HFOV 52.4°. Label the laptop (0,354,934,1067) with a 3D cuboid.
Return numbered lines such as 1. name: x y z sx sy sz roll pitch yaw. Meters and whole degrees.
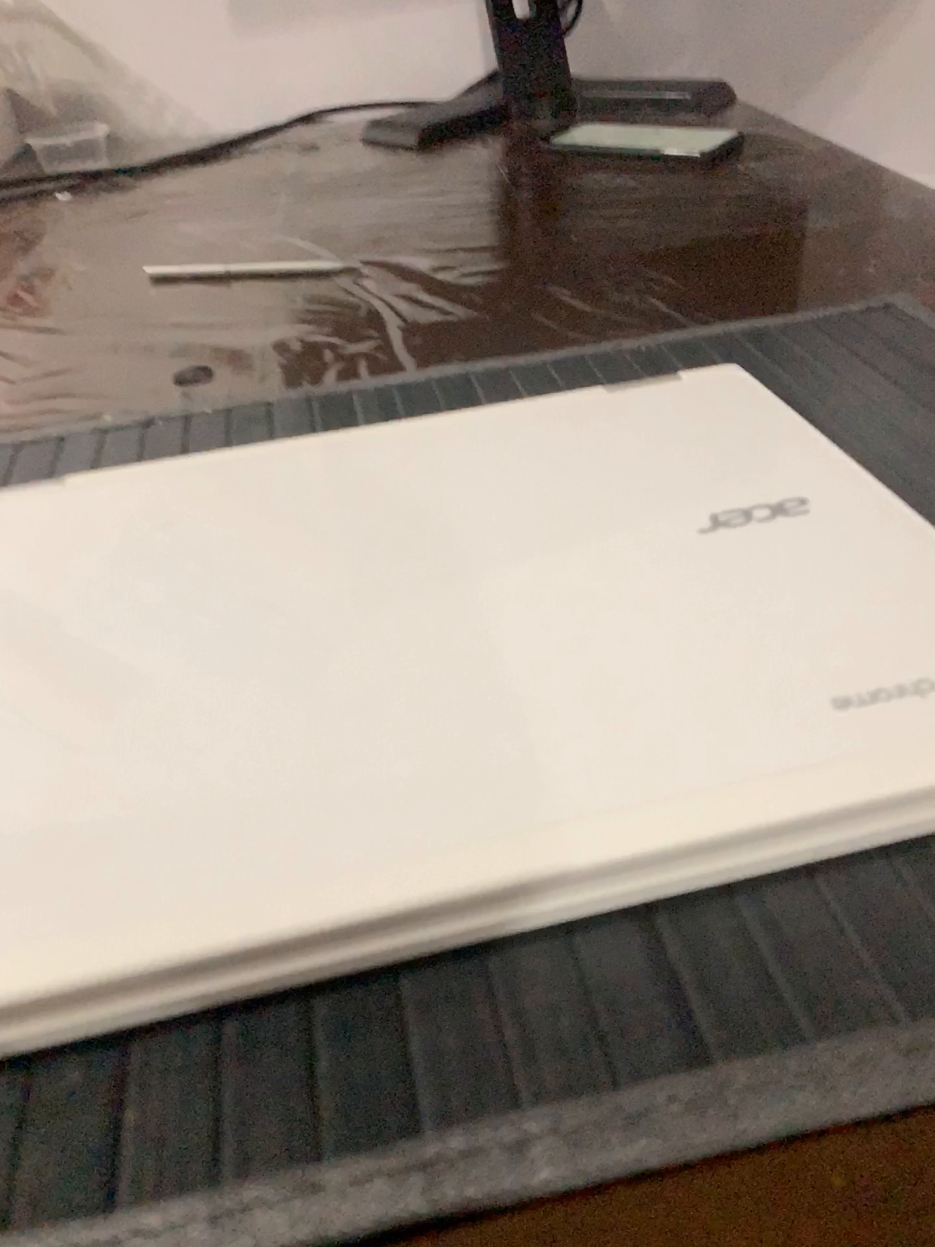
1. laptop: -0.017 -0.011 0.248 0.278 0.002 0.196 -12 37 -6
